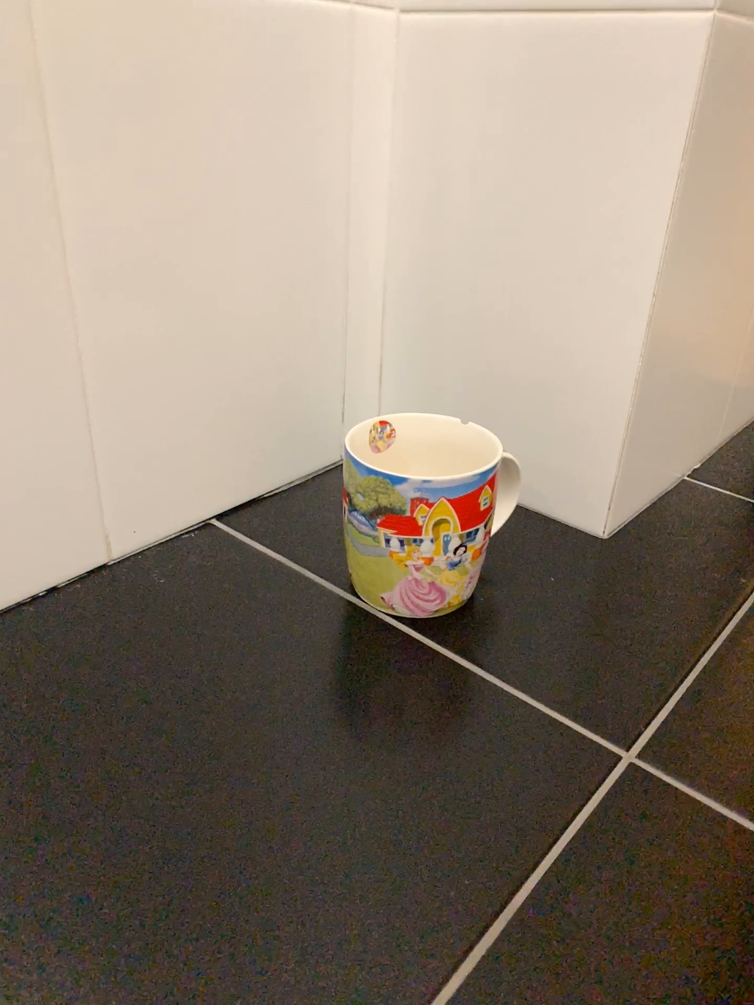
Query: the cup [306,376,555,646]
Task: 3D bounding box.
[{"bbox_3d":[0.032,-0.002,0.461,0.085,0.099,0.125,22,34,31],"label":"cup"}]
